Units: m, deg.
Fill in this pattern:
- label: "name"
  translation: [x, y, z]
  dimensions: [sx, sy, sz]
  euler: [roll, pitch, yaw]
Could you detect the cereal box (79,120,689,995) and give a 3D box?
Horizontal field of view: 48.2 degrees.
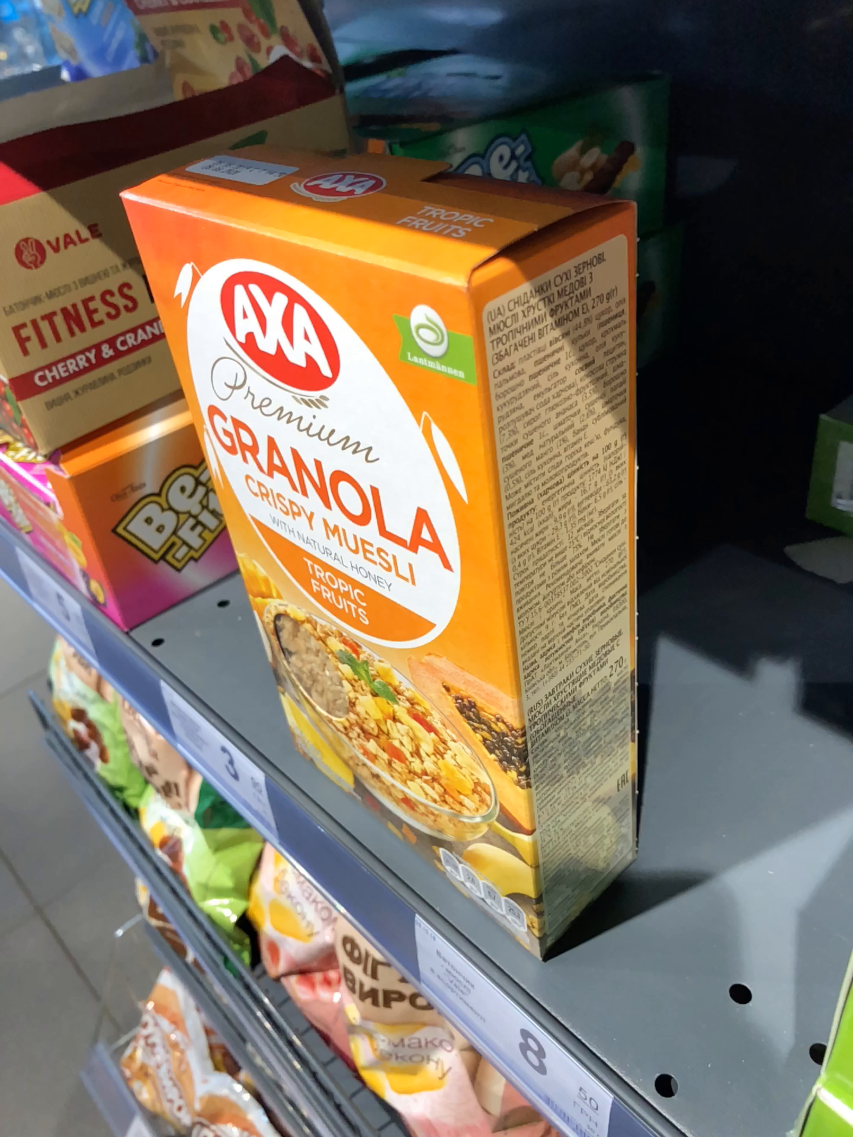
- label: "cereal box"
  translation: [-0.006, 0.000, 0.263]
  dimensions: [0.050, 0.208, 0.141]
  euler: [-34, 44, -29]
